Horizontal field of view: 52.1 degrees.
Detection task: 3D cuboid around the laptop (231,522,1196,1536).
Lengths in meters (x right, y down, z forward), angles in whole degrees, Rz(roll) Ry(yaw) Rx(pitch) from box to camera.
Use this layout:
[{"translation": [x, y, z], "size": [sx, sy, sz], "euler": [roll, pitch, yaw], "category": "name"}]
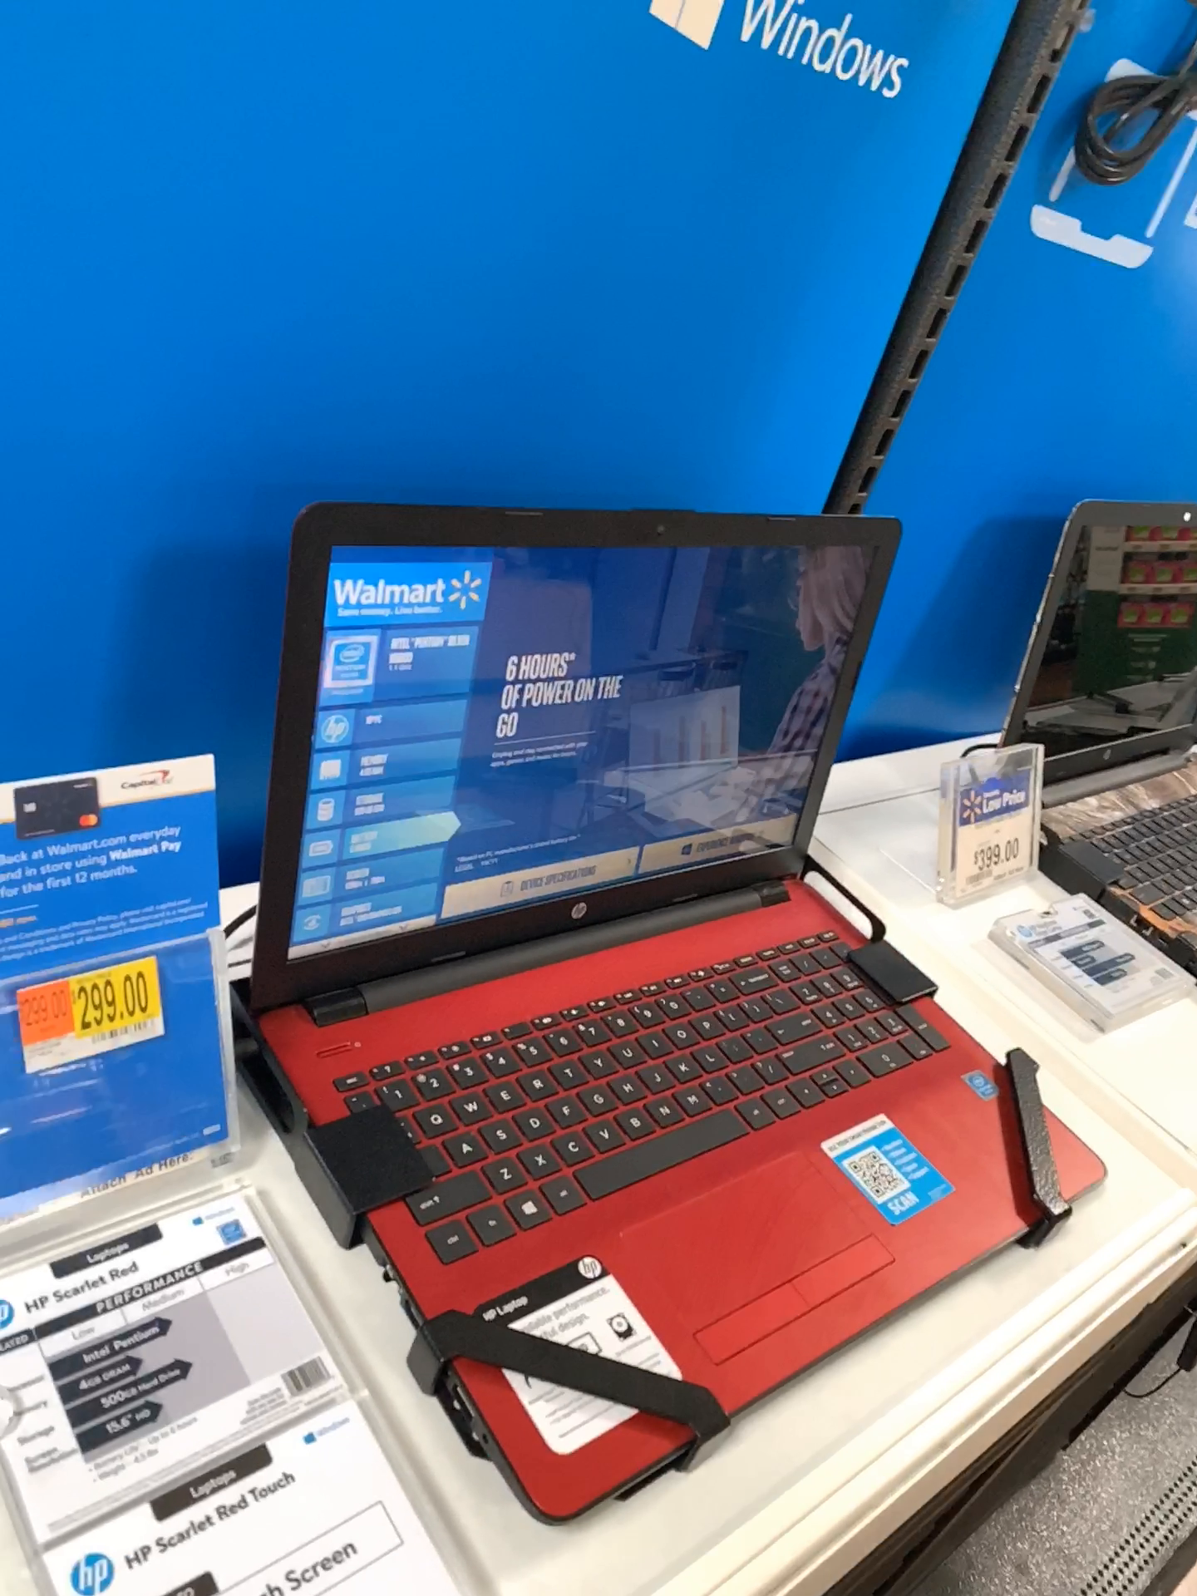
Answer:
[{"translation": [0.081, 0.046, 0.544], "size": [0.365, 0.223, 0.280], "euler": [-9, 42, -39], "category": "laptop"}]
